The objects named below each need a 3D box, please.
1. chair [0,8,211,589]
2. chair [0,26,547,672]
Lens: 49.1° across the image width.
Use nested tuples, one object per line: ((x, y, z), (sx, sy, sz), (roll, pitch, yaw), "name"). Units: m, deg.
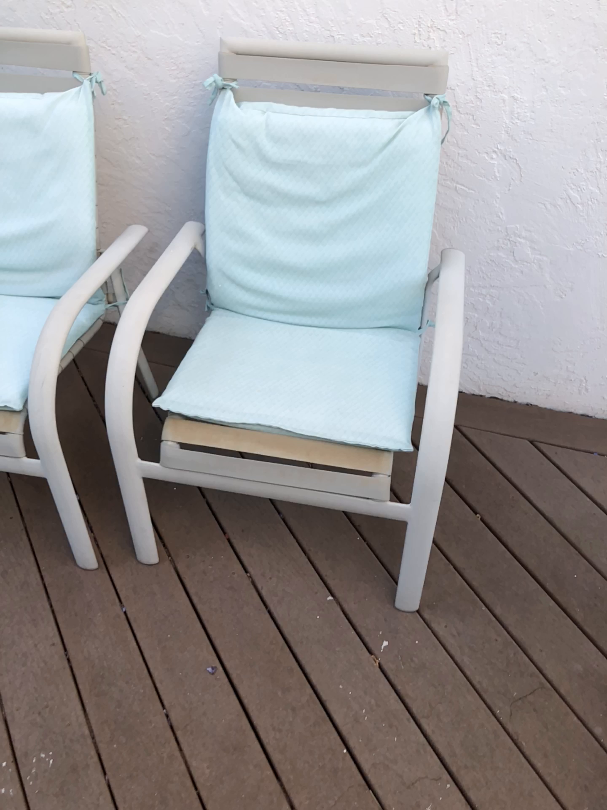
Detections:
((-0.716, -0.238, 1.526), (0.700, 0.964, 0.784), (9, 46, 9), "chair")
((0.005, -0.102, 1.692), (0.840, 1.273, 0.875), (9, 46, 9), "chair")
